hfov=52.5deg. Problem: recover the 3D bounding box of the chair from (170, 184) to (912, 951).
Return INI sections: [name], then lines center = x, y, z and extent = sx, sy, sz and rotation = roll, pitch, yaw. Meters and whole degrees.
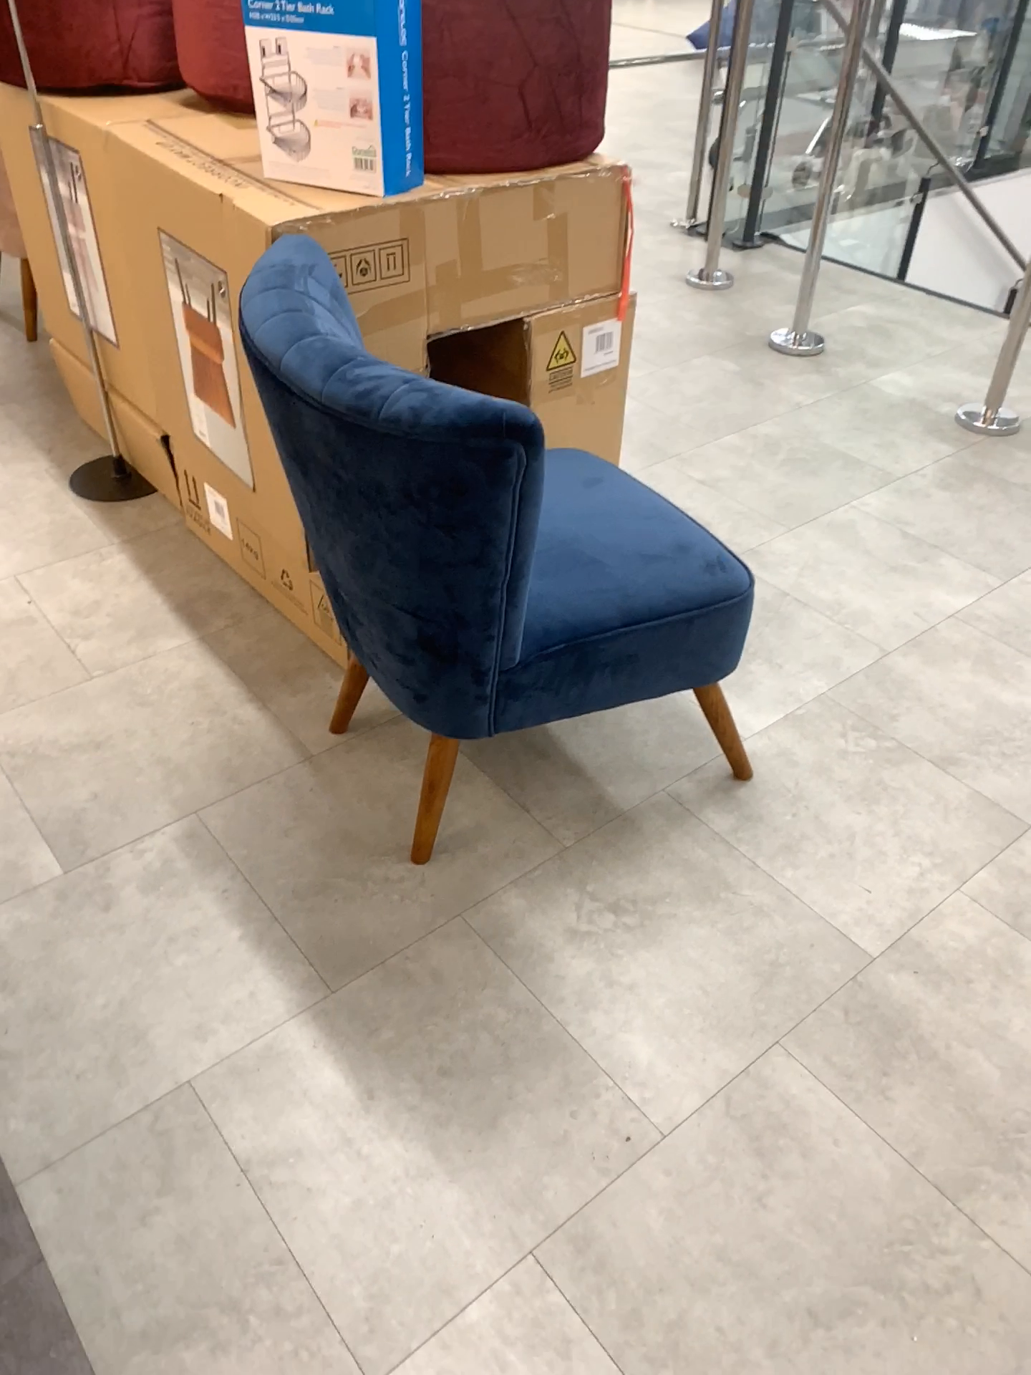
[chair]
center = 0.001, -0.239, 1.633
extent = 0.722, 0.792, 0.695
rotation = -22, 44, -27
